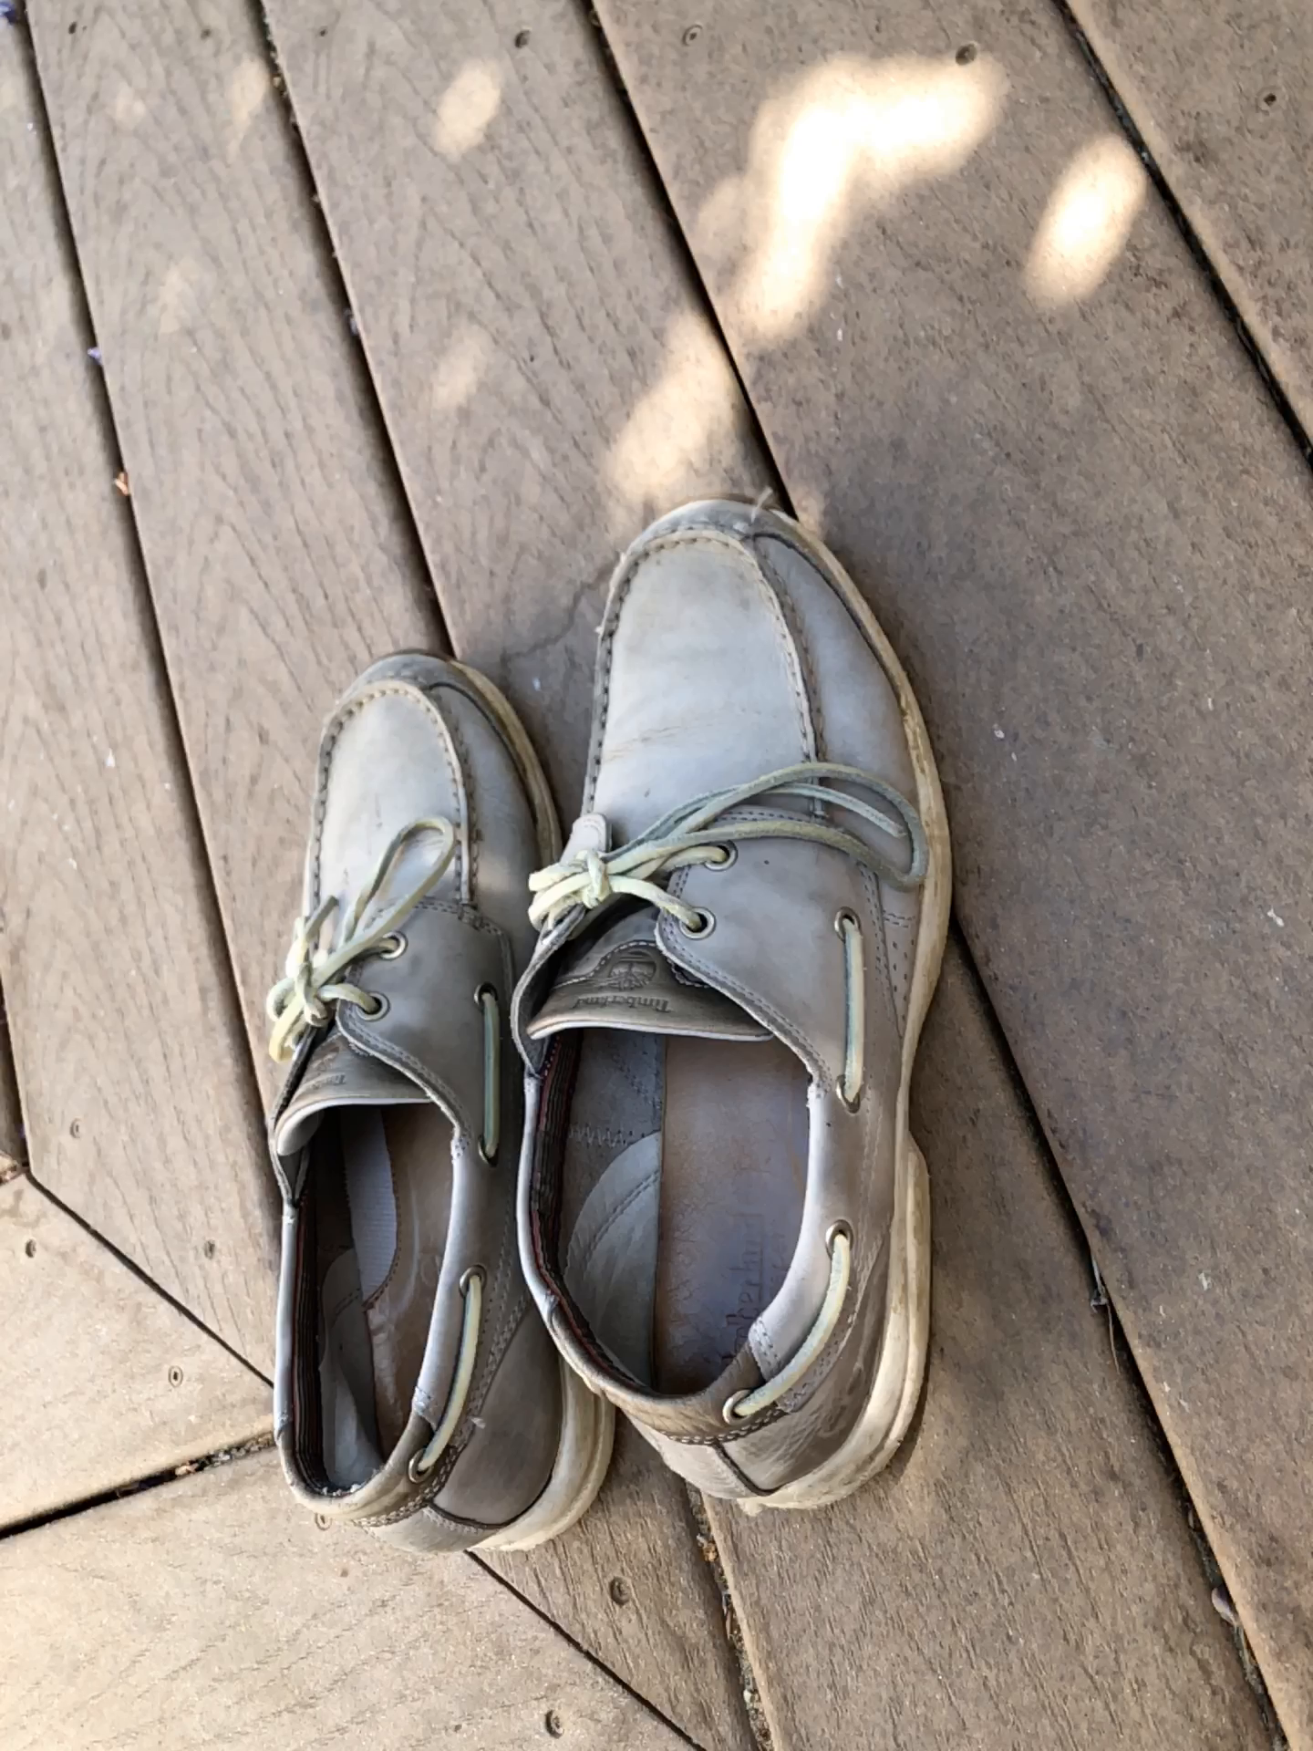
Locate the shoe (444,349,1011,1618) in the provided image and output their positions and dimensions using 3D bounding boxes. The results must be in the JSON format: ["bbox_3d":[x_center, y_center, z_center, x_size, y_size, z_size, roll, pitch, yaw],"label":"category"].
[{"bbox_3d":[0.017,0.028,0.426,0.122,0.097,0.312,-9,76,31],"label":"shoe"}]

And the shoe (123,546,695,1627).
[{"bbox_3d":[-0.089,0.066,0.486,0.119,0.096,0.310,-20,71,28],"label":"shoe"}]
